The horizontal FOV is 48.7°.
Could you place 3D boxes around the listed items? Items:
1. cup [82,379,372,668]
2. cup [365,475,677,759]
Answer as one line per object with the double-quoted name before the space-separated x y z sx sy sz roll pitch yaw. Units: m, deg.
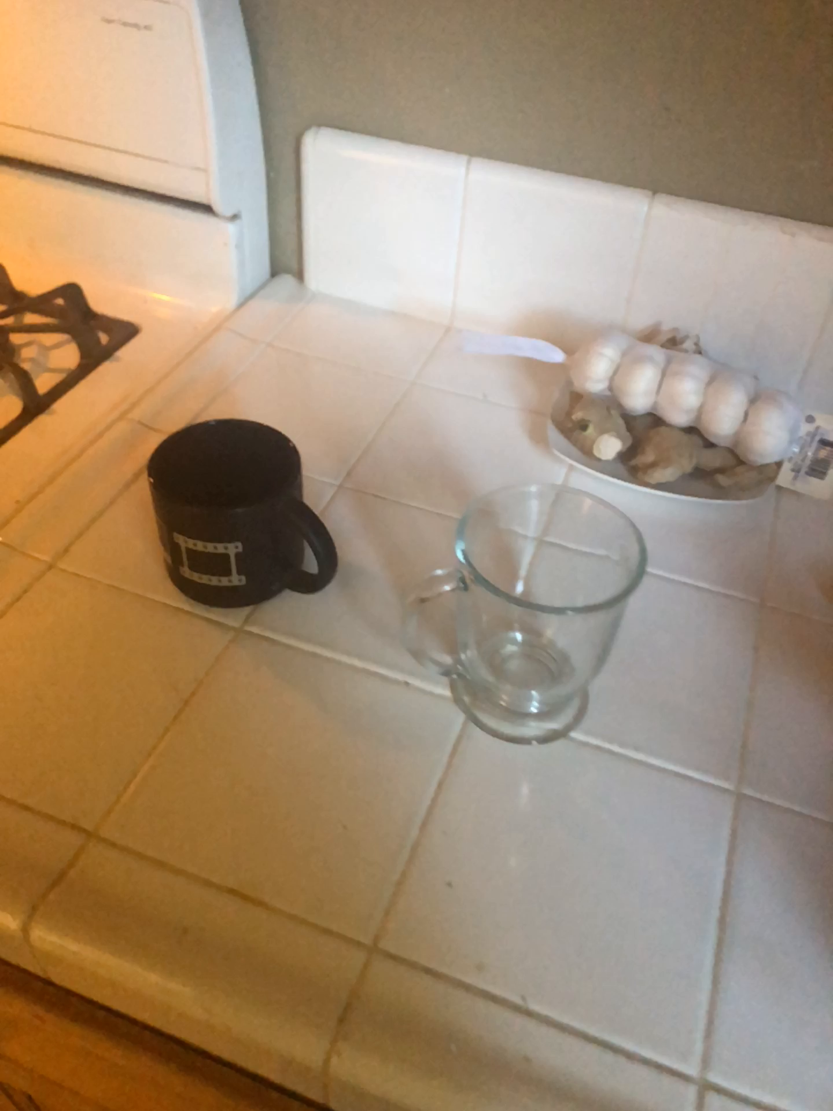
"cup" -0.110 -0.023 0.557 0.130 0.089 0.101 29 49 23
"cup" 0.046 0.033 0.505 0.140 0.109 0.101 -2 44 -7
